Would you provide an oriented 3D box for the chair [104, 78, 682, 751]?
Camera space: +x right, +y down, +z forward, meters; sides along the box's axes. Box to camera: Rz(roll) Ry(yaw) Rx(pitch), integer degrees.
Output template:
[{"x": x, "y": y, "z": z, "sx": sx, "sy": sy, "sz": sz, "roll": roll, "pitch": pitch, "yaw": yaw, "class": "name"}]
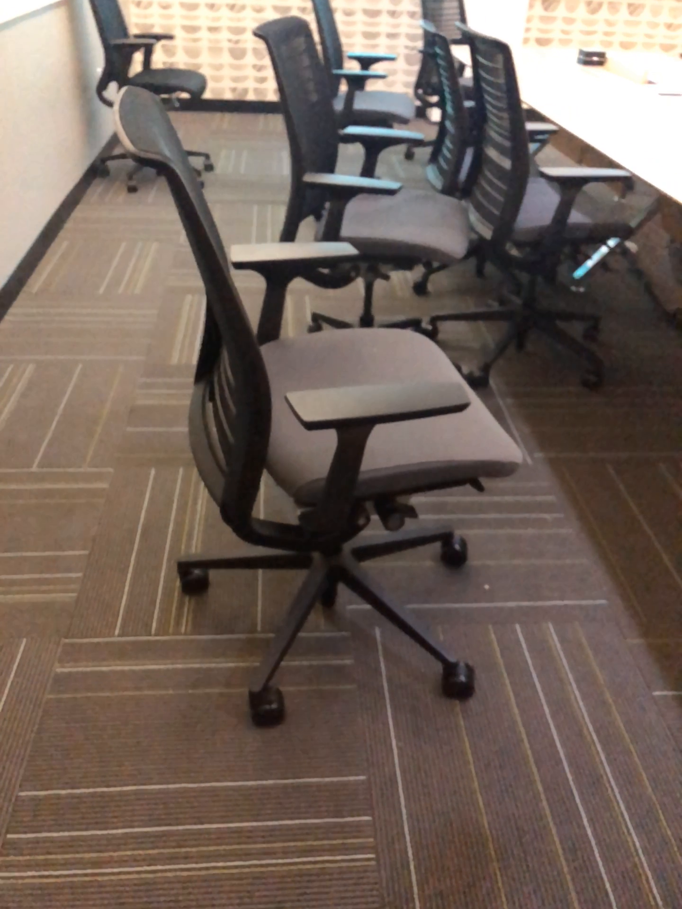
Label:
[{"x": -0.007, "y": -0.130, "z": 1.324, "sx": 0.660, "sy": 0.856, "sz": 0.724, "roll": -7, "pitch": 34, "yaw": -15, "class": "chair"}]
